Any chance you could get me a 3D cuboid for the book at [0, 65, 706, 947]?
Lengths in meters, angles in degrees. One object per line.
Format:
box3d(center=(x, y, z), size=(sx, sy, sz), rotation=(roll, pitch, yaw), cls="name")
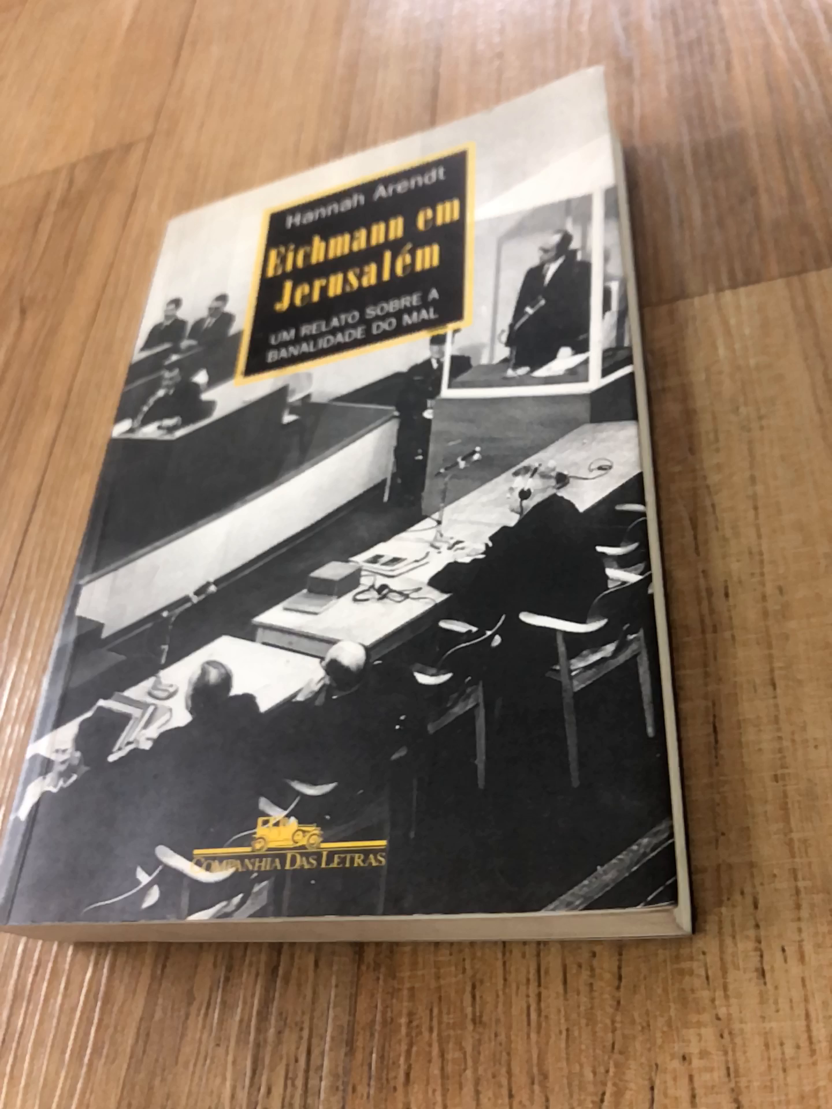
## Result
box3d(center=(-0.017, -0.018, 0.220), size=(0.140, 0.030, 0.201), rotation=(-9, 58, 20), cls="book")
